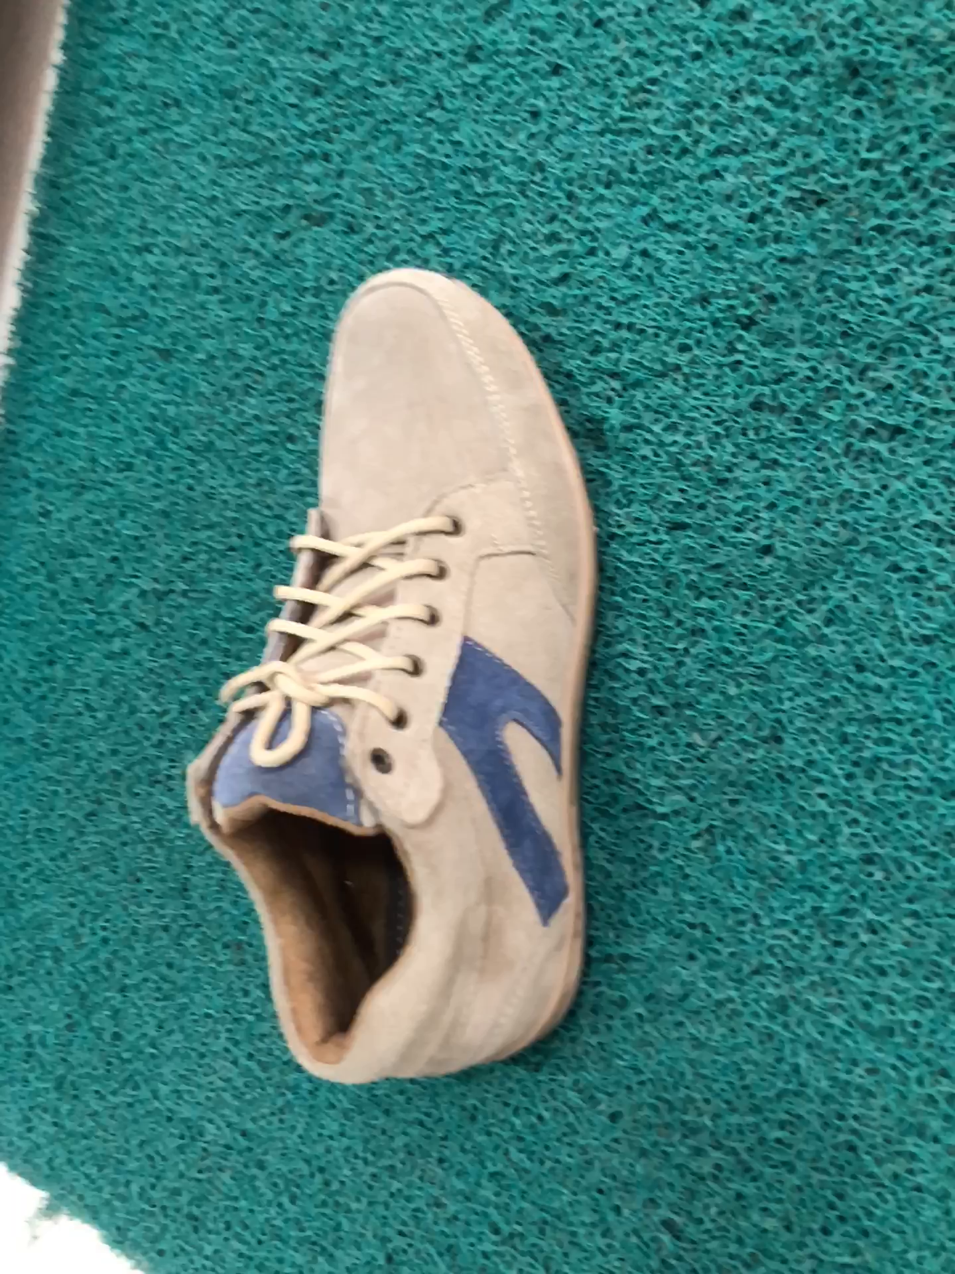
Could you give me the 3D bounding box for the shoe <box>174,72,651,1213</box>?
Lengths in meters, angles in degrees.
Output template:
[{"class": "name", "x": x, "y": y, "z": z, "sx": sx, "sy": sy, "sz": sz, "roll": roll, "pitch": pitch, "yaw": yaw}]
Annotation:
[{"class": "shoe", "x": -0.020, "y": 0.002, "z": 0.372, "sx": 0.100, "sy": 0.120, "sz": 0.320, "roll": -6, "pitch": 85, "yaw": 31}]
